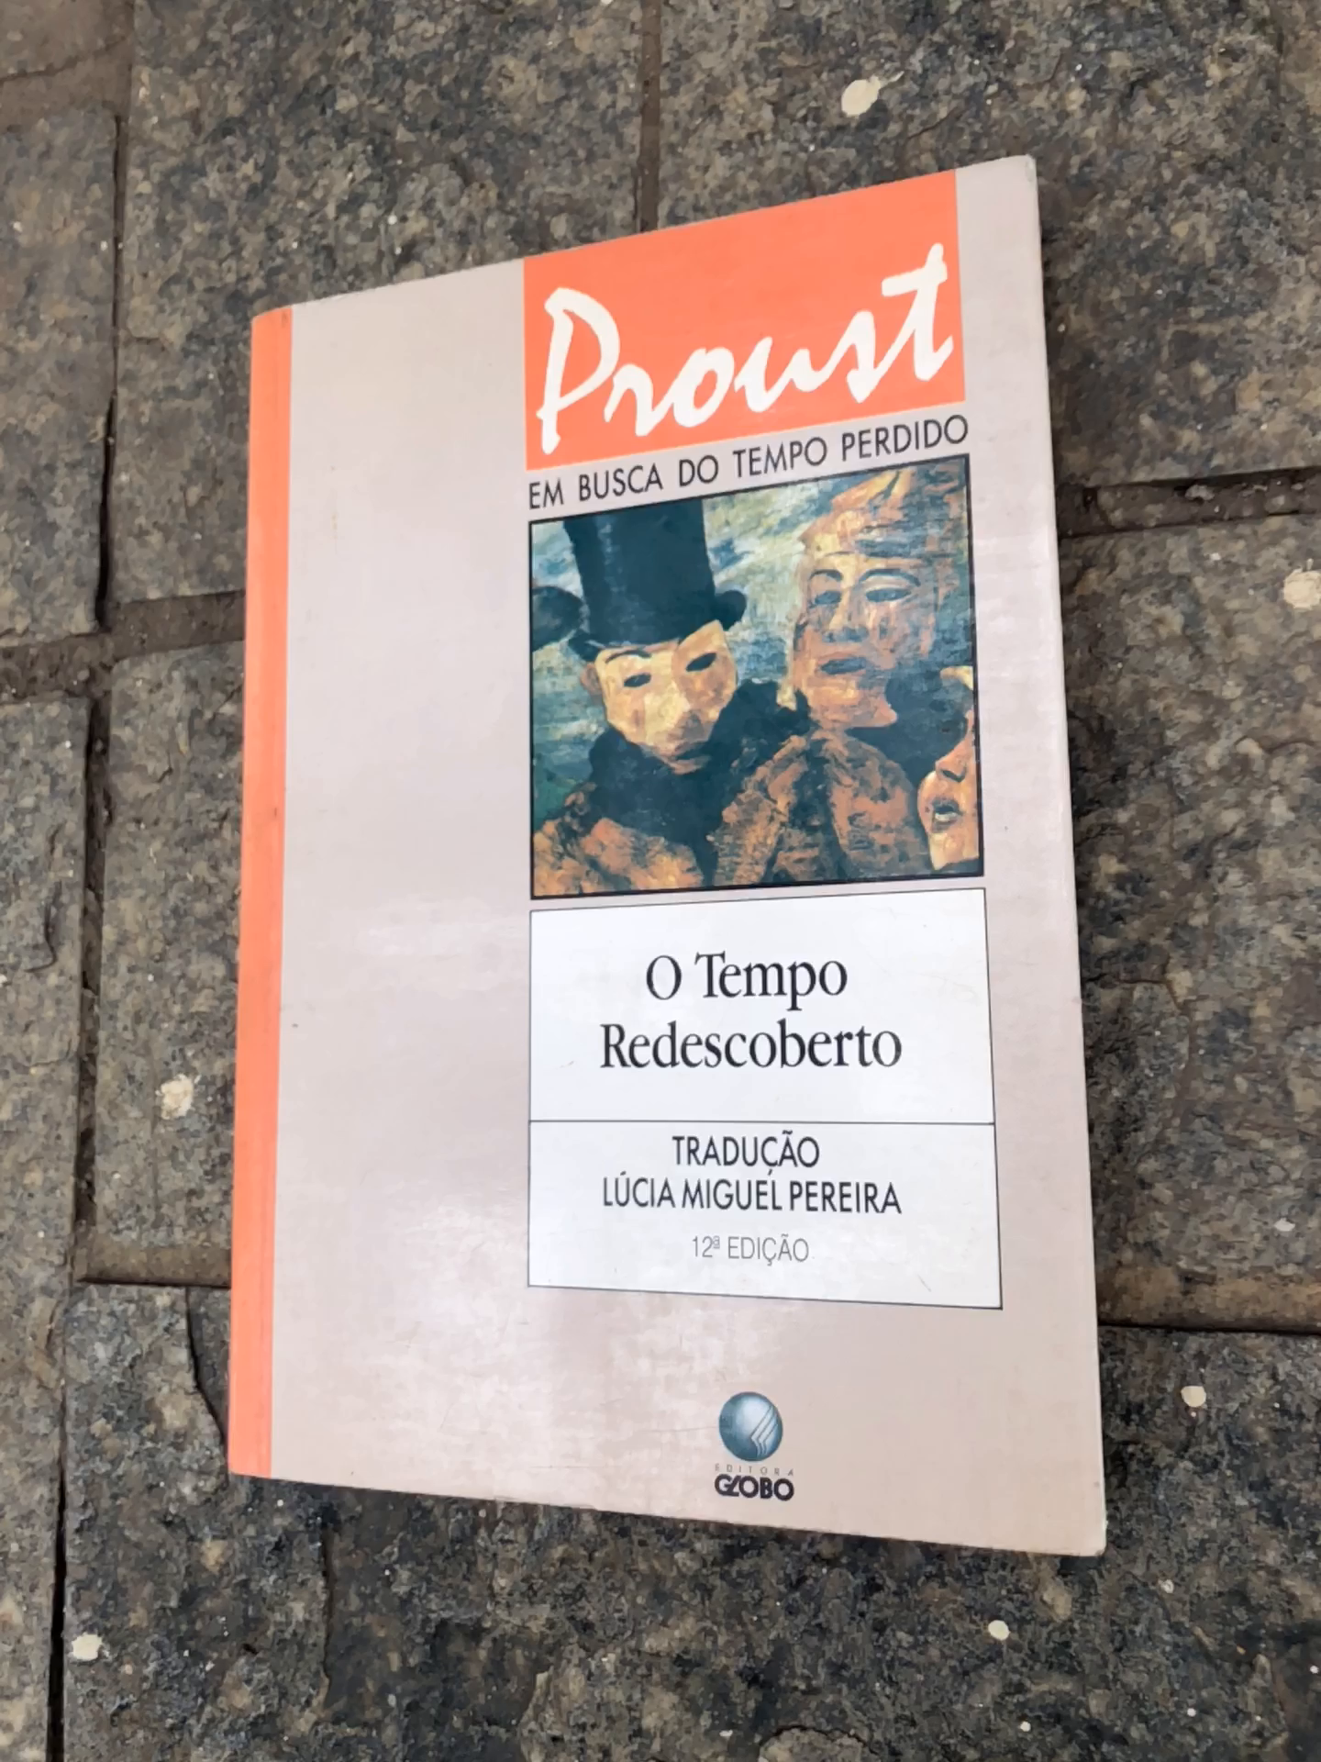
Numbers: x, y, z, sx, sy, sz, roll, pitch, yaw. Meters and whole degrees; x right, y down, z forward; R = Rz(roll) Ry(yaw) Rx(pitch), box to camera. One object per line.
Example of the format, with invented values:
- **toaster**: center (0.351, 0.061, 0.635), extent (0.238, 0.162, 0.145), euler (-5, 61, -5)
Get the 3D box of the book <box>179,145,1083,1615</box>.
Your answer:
- **book**: center (-0.009, -0.001, 0.231), extent (0.134, 0.023, 0.199), euler (-3, 82, 19)
